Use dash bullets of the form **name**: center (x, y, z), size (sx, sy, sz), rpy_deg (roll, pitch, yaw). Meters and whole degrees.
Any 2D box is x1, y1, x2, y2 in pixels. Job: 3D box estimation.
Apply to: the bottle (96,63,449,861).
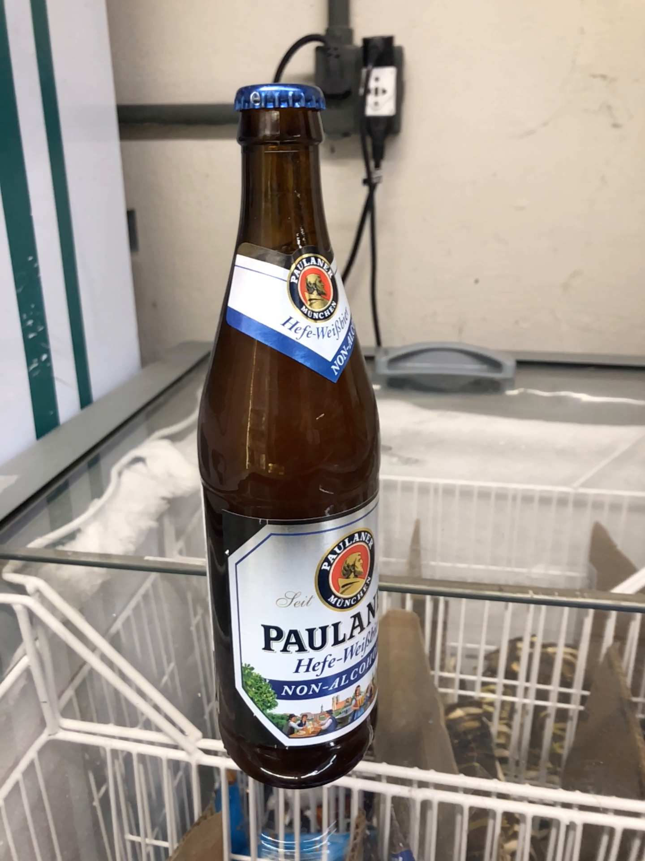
- **bottle**: center (-0.015, 0.015, 0.255), size (0.080, 0.249, 0.070), rpy_deg (-14, 23, -35)
